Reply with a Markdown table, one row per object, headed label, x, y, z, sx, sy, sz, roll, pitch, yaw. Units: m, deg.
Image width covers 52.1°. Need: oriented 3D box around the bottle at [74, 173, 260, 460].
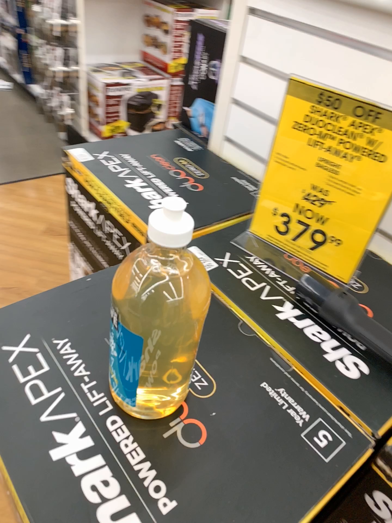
| label | x | y | z | sx | sy | sz | roll | pitch | yaw |
| --- | --- | --- | --- | --- | --- | --- | --- | --- | --- |
| bottle | -0.036 | 0.049 | 0.318 | 0.090 | 0.209 | 0.090 | 6 | 39 | -5 |
